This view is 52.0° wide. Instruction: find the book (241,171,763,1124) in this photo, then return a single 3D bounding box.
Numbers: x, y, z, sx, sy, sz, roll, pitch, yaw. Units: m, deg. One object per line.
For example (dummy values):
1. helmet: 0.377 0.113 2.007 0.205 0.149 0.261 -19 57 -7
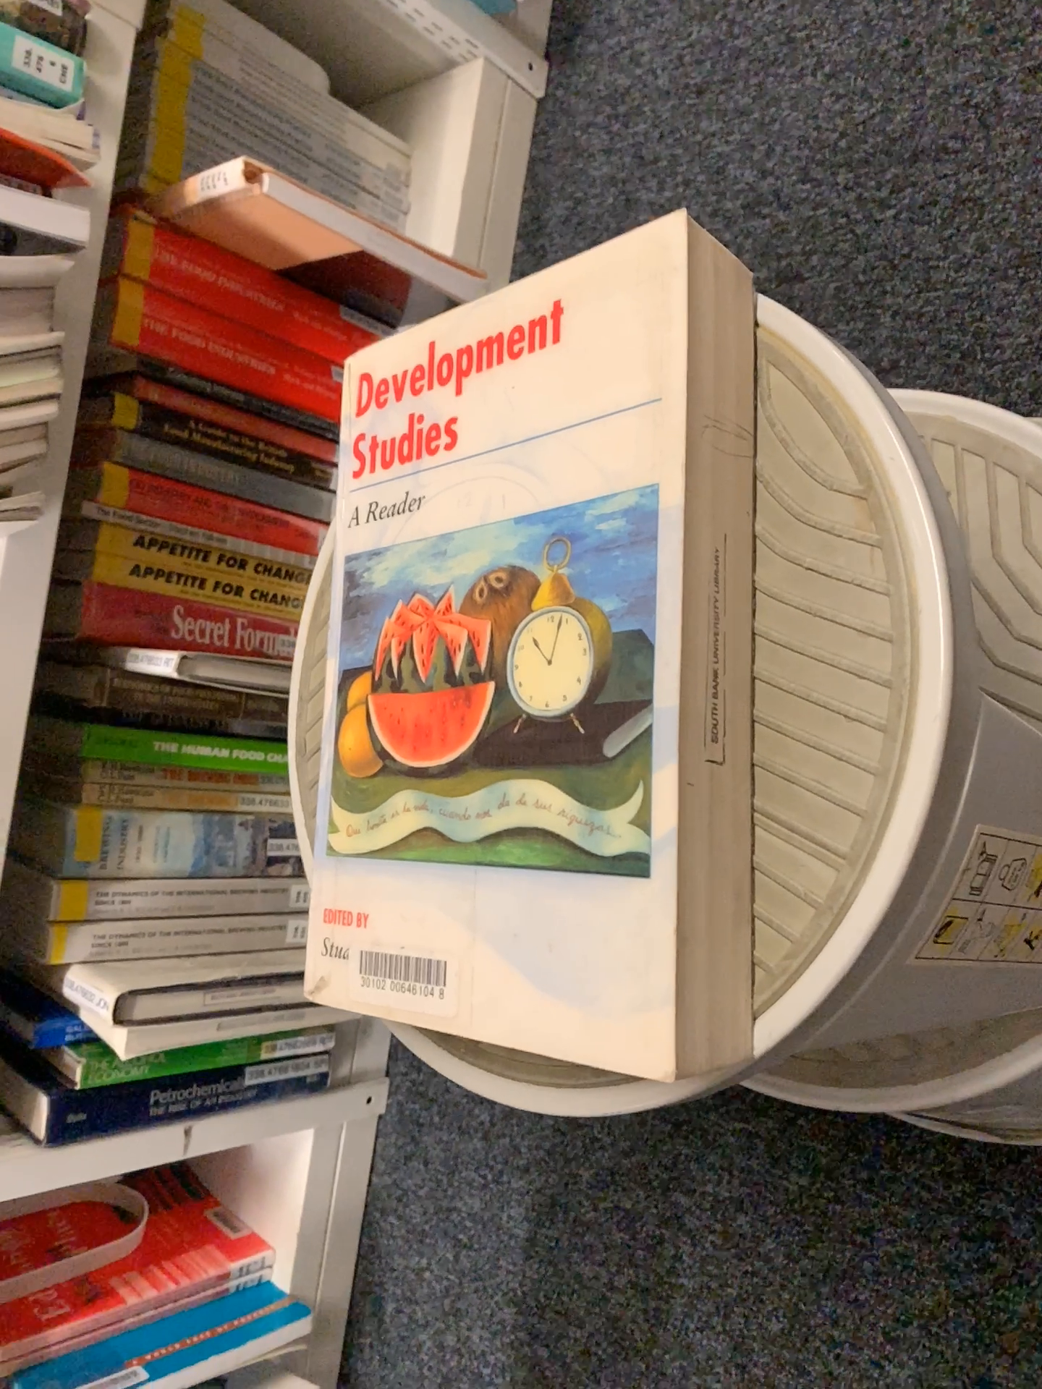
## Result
1. book: -0.011 -0.010 0.319 0.160 0.045 0.224 -4 81 42
